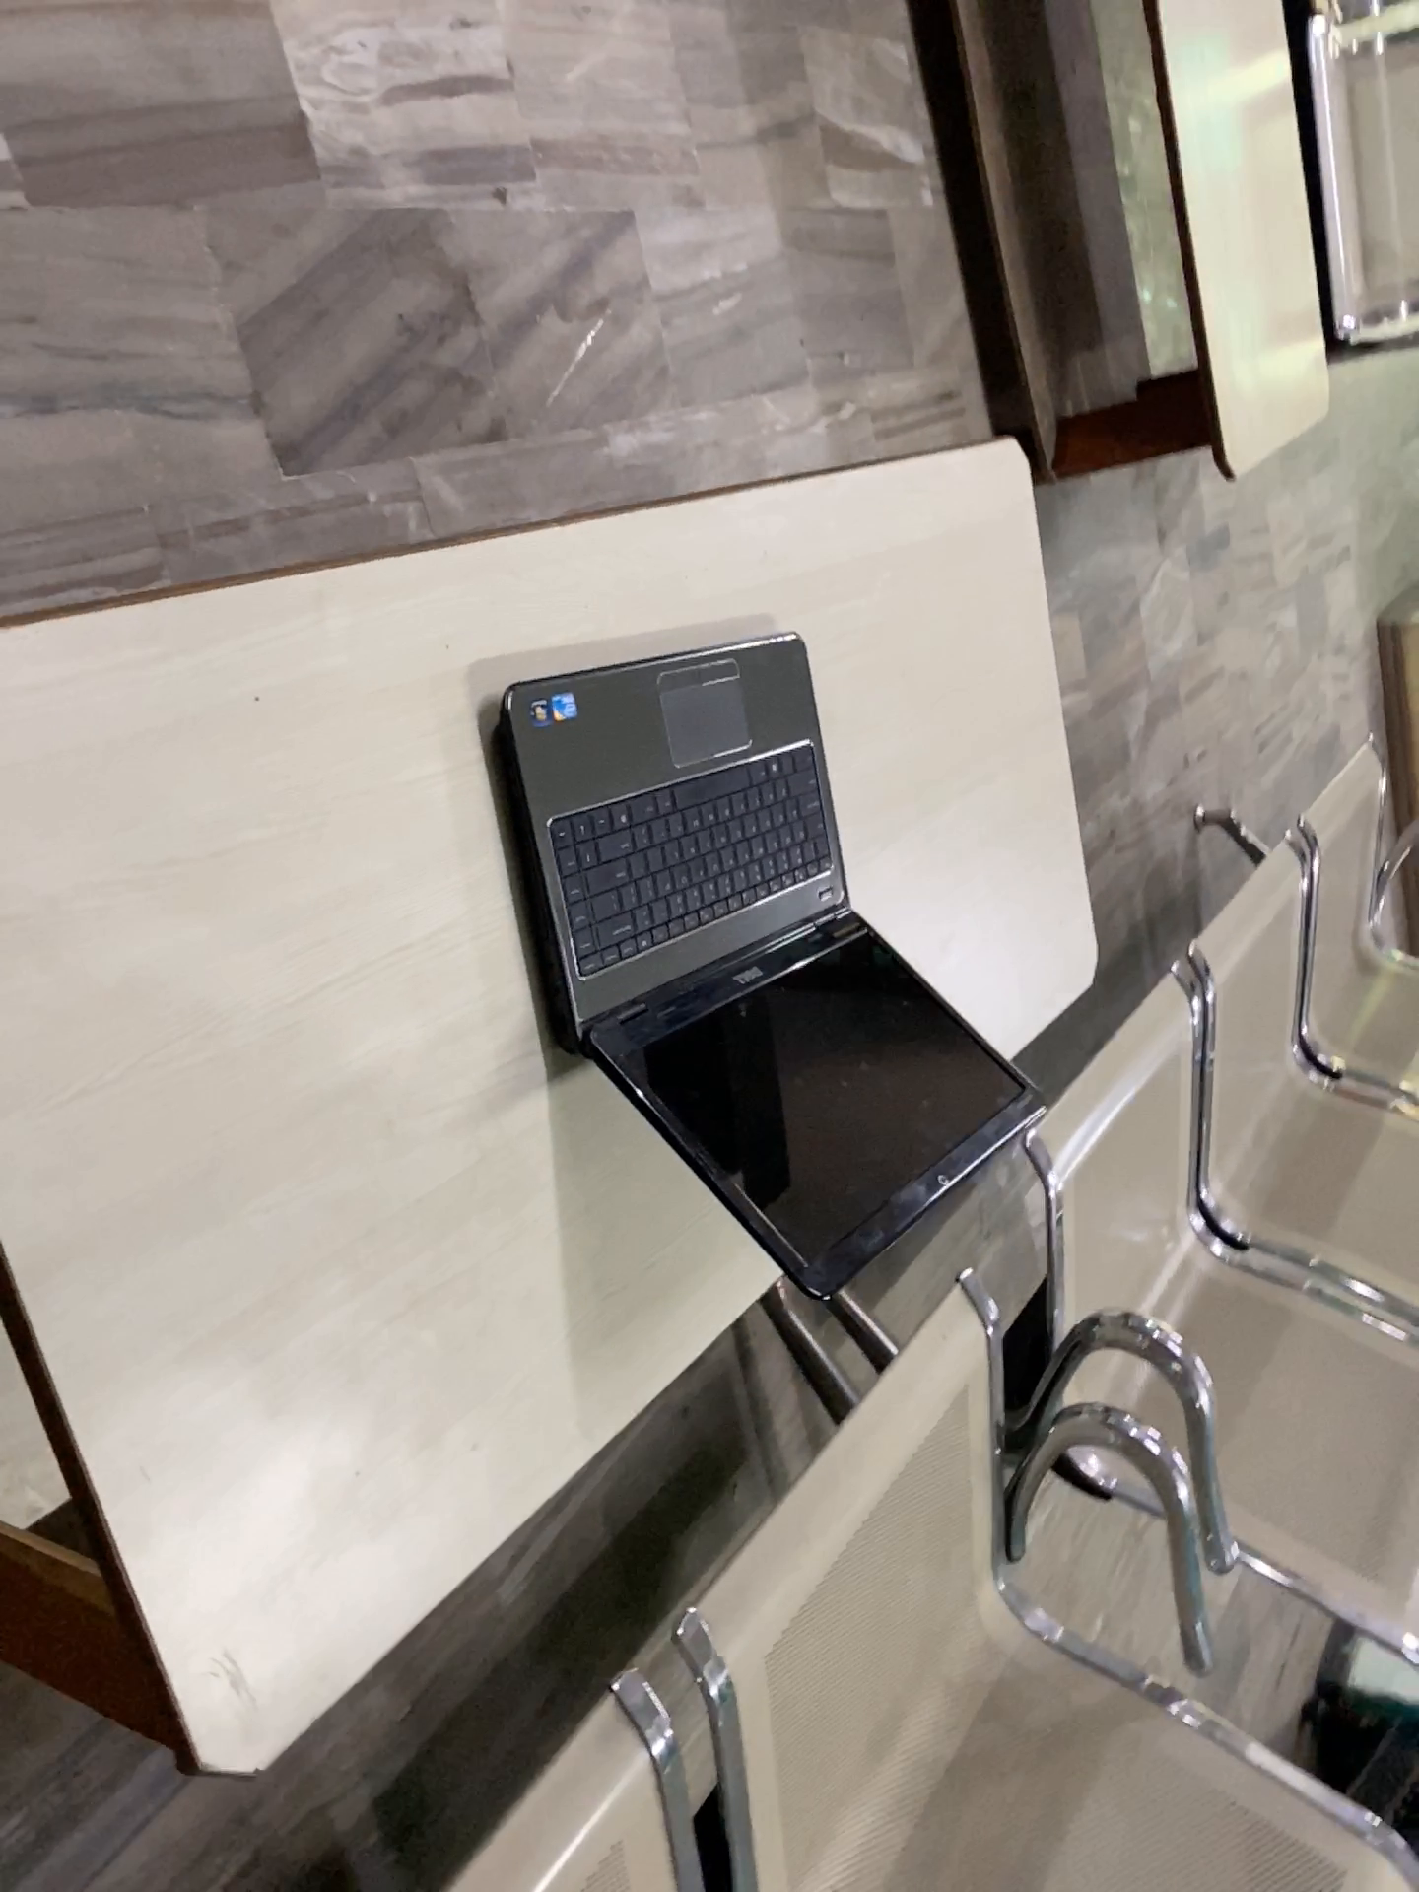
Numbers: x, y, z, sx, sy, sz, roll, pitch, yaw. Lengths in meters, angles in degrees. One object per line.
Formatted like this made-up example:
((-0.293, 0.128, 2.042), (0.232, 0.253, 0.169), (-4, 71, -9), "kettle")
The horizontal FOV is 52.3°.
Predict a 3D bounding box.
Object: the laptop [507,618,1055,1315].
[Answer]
((0.071, -0.006, 0.987), (0.330, 0.152, 0.378), (-24, 109, -49), "laptop")
